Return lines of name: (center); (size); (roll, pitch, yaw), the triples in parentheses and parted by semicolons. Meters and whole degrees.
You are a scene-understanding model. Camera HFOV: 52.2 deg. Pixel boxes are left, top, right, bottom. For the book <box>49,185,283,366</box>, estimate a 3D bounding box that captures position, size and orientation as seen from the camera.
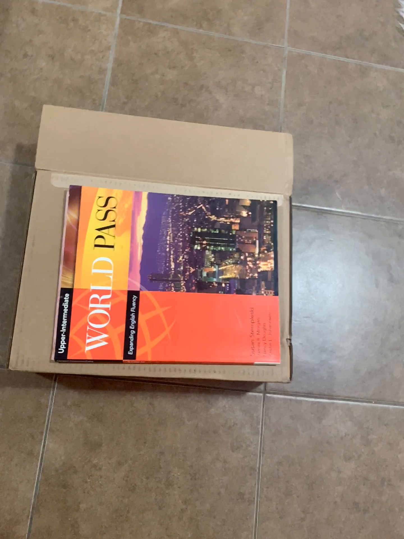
book: (-0.036, 0.008, 0.508); (0.270, 0.018, 0.211); (3, 78, -7)
